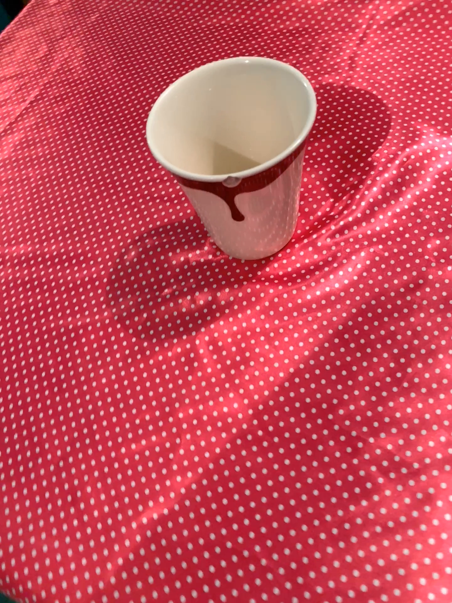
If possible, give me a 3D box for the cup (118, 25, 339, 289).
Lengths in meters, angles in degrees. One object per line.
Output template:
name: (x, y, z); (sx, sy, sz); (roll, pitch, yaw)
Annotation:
cup: (0.013, -0.092, 0.299); (0.100, 0.090, 0.130); (6, 63, 16)
